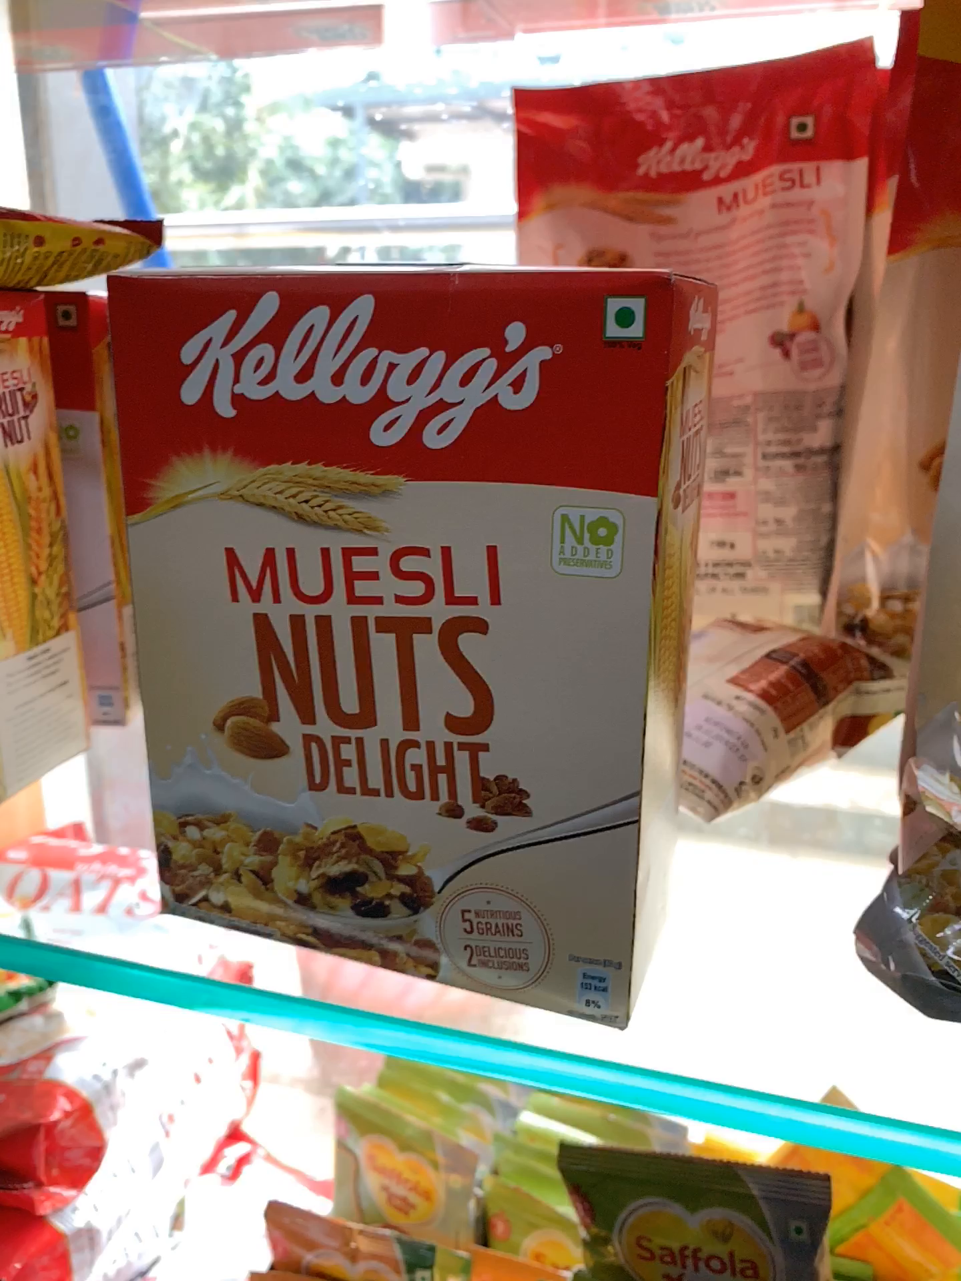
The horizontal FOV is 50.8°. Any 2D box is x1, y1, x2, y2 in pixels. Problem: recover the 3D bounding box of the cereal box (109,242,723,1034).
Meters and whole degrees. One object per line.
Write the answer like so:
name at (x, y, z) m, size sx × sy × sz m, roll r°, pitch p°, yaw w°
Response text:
cereal box at (-0.016, -0.006, 0.253) m, size 0.130 × 0.169 × 0.050 m, roll 7°, pitch 18°, yaw 21°
